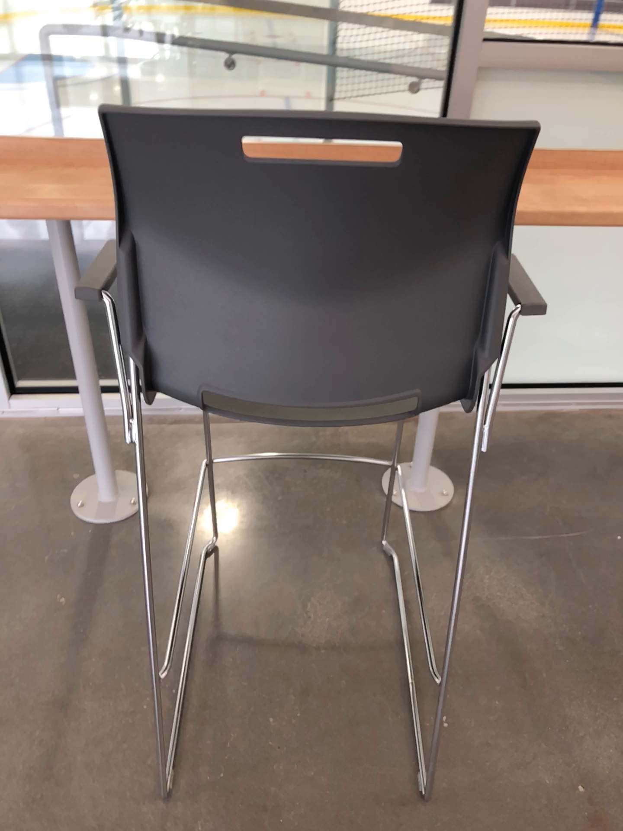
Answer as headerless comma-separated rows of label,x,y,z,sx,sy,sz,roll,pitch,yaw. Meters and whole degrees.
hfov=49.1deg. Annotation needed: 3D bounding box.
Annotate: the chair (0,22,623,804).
chair,0.001,0.021,1.121,0.600,1.072,0.665,1,35,-4
